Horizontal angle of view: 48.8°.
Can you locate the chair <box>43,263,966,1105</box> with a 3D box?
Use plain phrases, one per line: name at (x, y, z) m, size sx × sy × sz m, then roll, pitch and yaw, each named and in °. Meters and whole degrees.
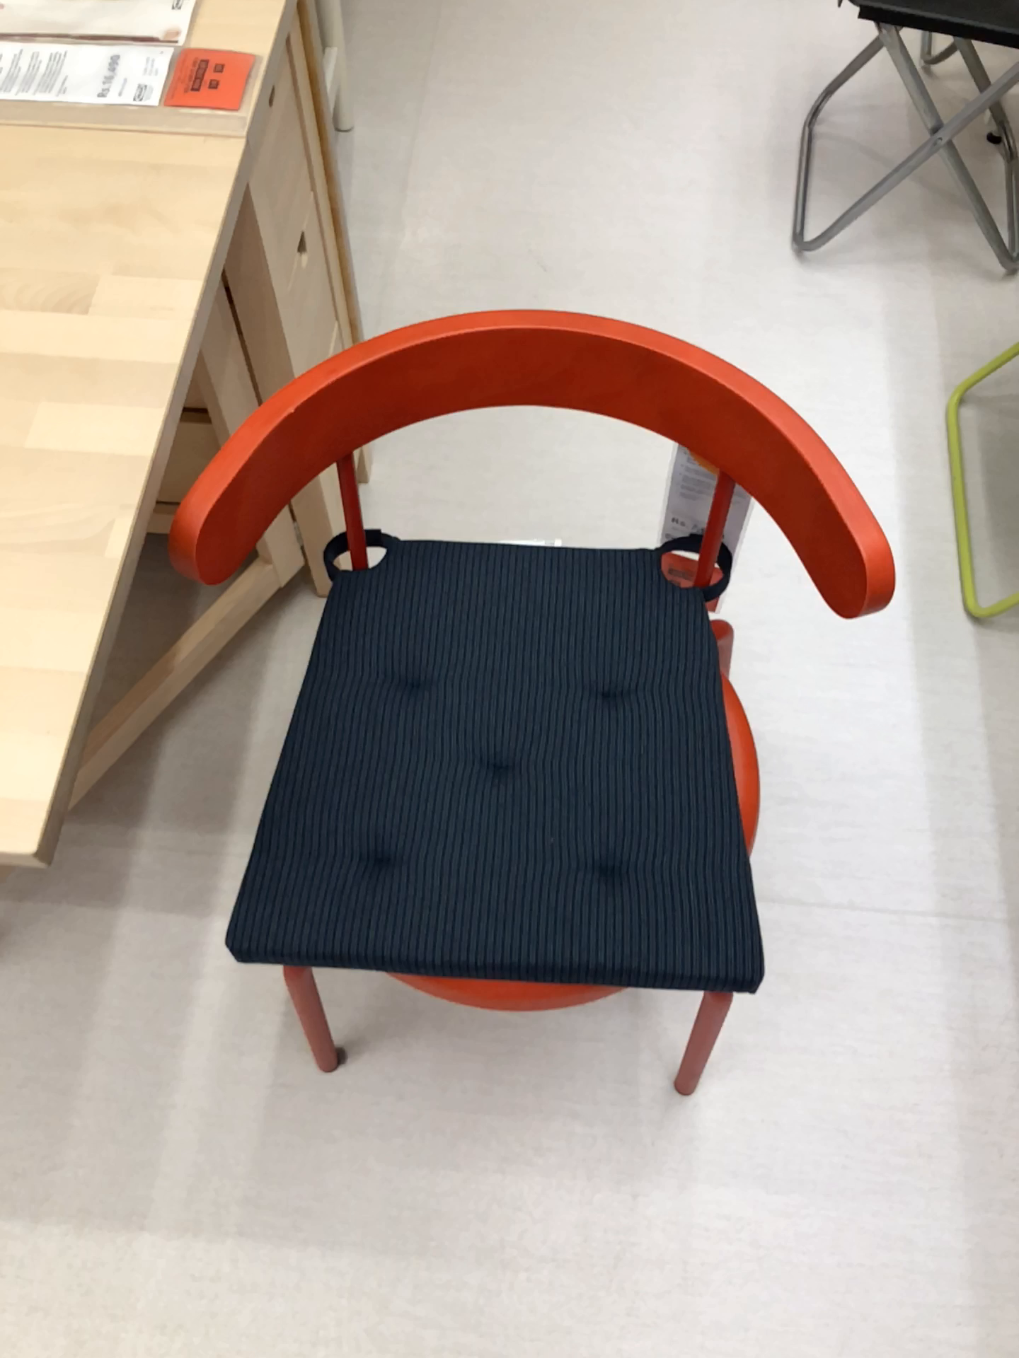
chair at (0.009, 0.070, 1.049) m, size 0.520 × 0.677 × 0.502 m, roll 3°, pitch 62°, yaw 2°
